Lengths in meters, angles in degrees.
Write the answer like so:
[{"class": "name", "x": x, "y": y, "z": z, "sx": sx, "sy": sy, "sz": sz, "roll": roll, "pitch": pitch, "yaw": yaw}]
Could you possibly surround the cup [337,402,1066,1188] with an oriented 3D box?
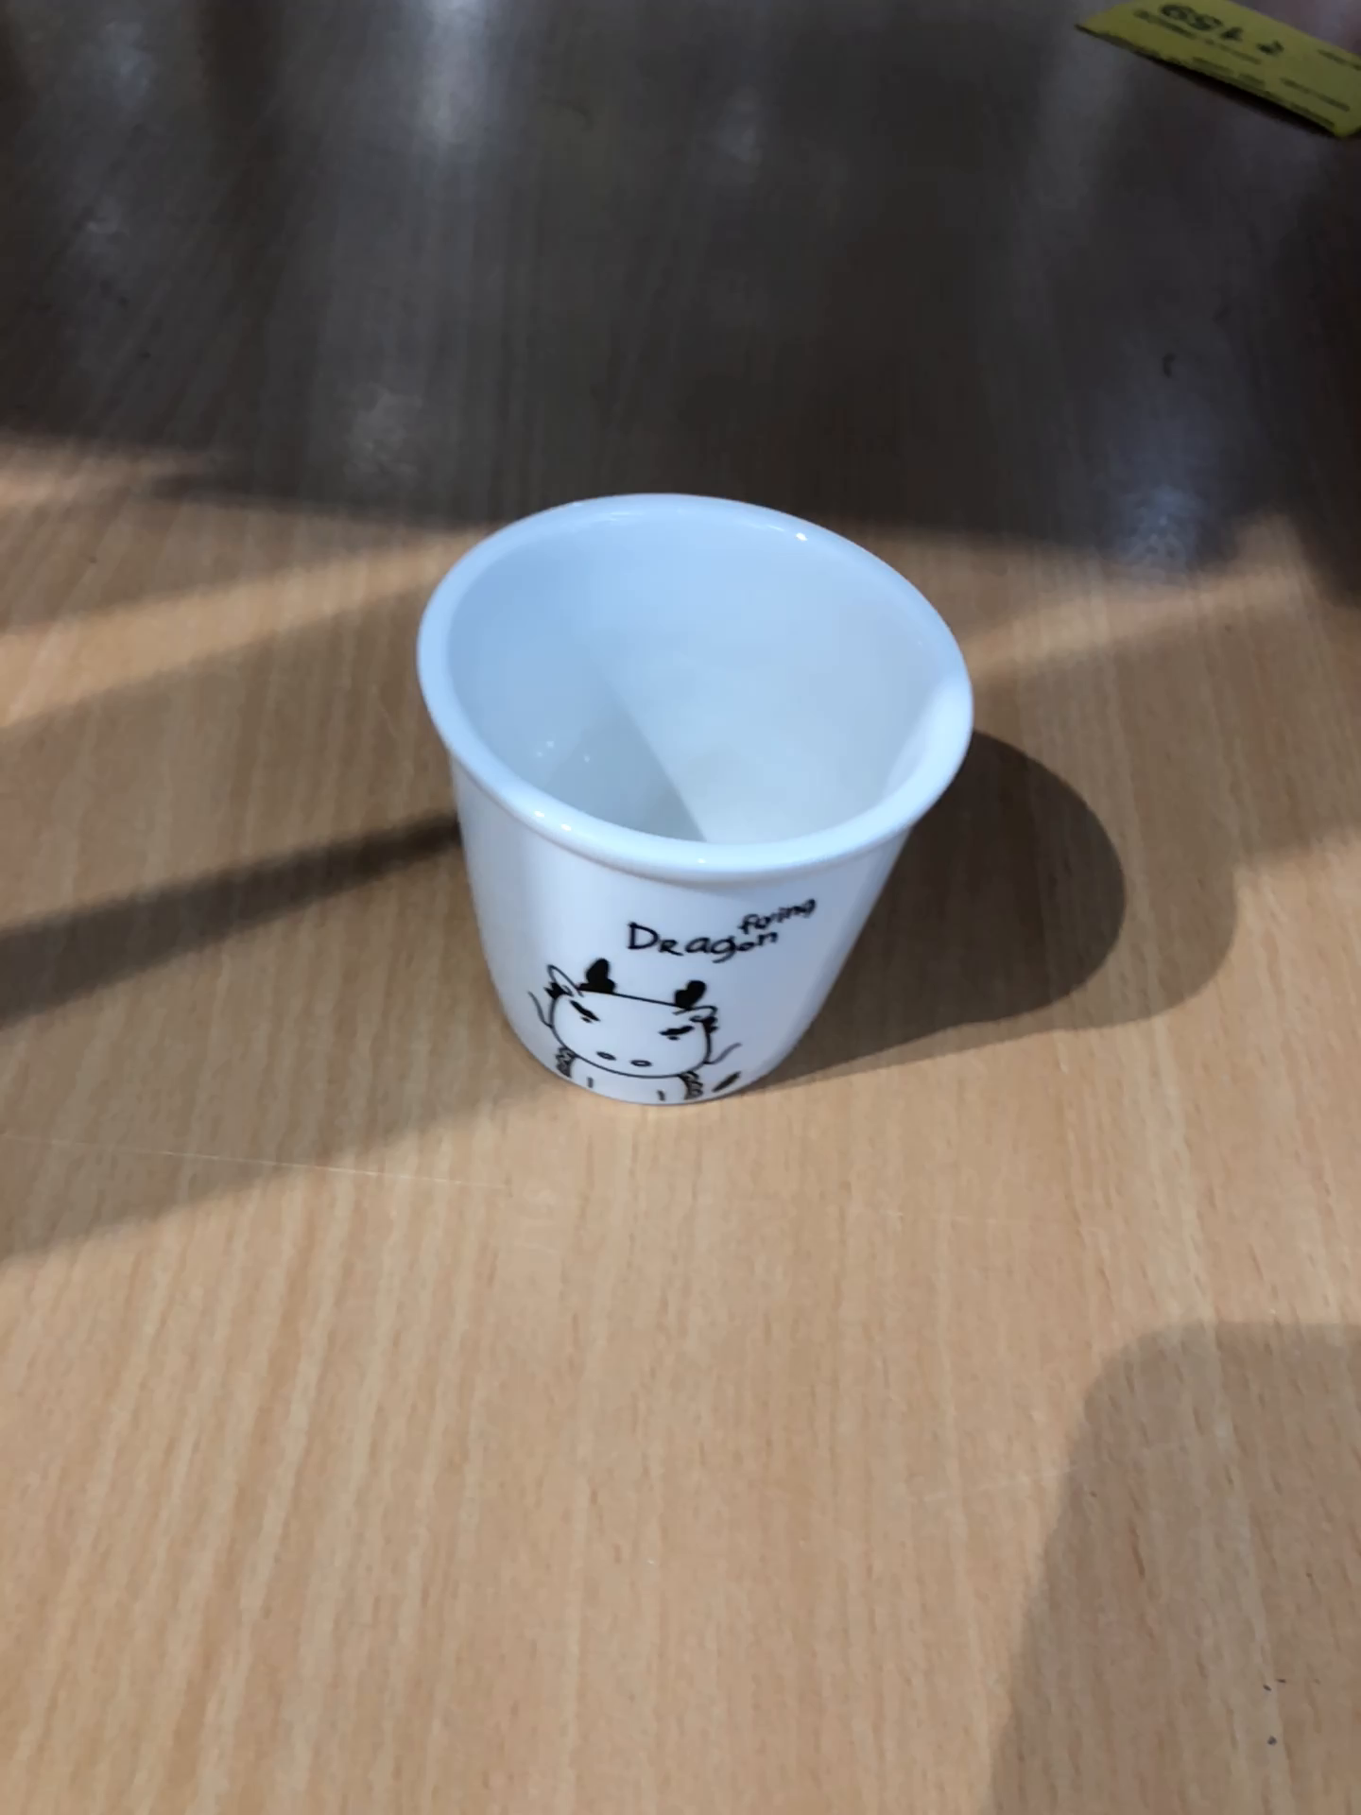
[{"class": "cup", "x": 0.004, "y": -0.017, "z": 0.215, "sx": 0.080, "sy": 0.060, "sz": 0.081, "roll": 4, "pitch": 48, "yaw": -4}]
